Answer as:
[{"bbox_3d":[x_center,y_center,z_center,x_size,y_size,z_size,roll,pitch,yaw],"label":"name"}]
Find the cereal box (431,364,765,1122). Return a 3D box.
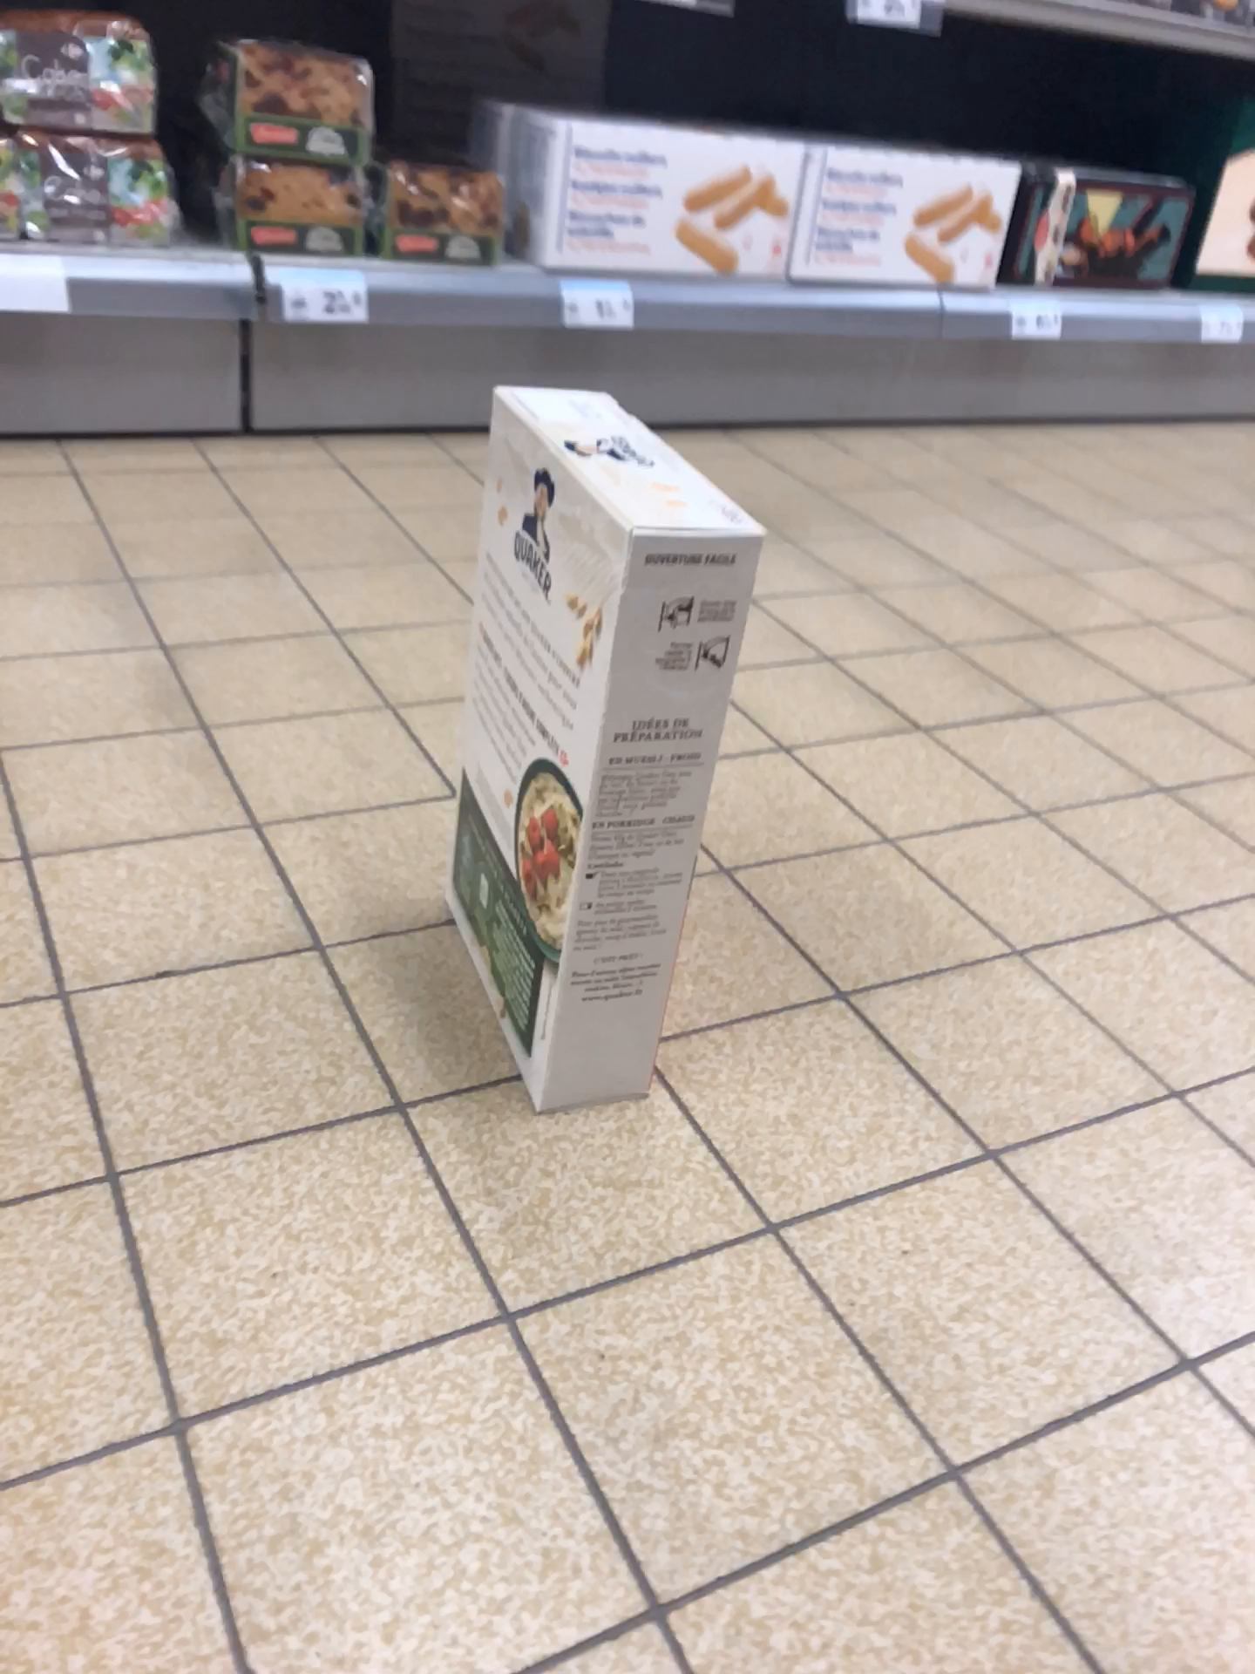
[{"bbox_3d":[-0.024,-0.036,0.509,0.050,0.229,0.151,-4,33,-21],"label":"cereal box"}]
